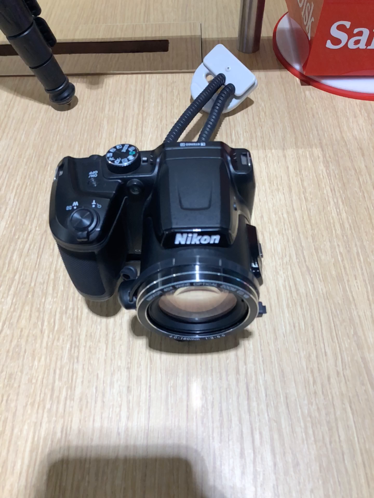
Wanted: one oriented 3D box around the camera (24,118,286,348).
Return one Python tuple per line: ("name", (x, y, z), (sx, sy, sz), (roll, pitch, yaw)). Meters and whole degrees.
("camera", (-0.013, -0.008, 0.218), (0.103, 0.070, 0.093), (-3, 56, 0))
